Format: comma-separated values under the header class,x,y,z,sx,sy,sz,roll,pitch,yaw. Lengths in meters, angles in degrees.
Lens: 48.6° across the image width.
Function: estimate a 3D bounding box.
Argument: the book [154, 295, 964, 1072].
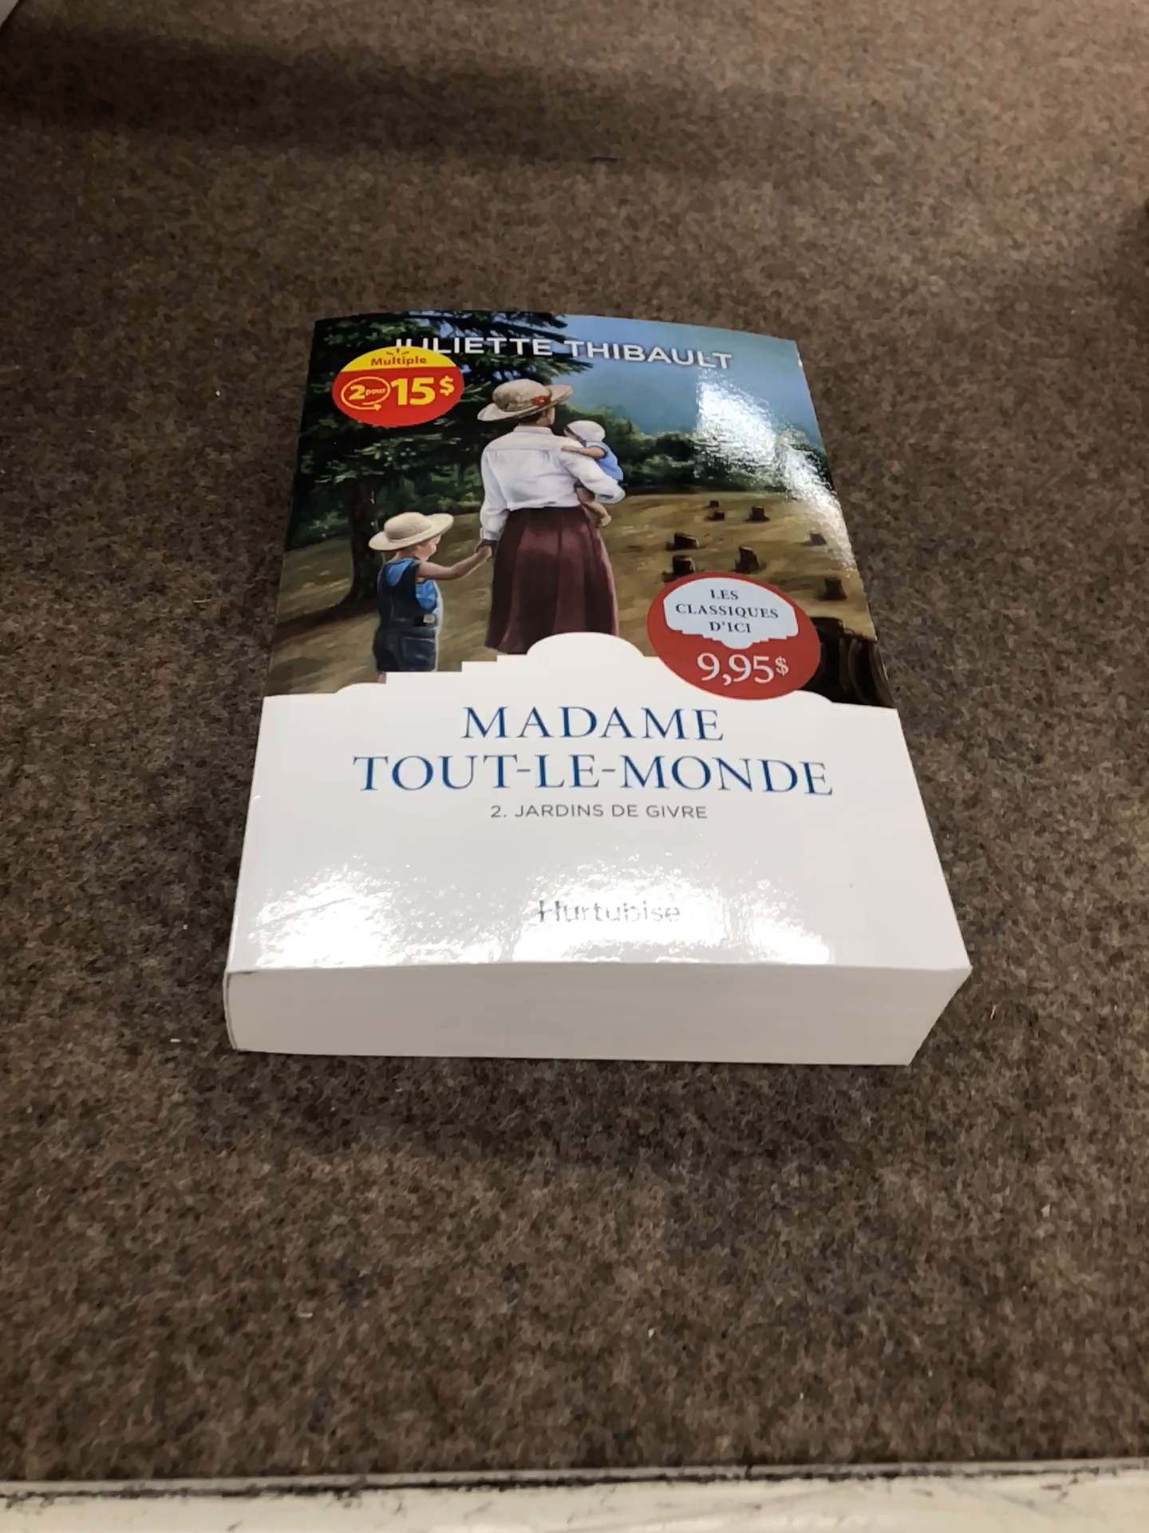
class,x,y,z,sx,sy,sz,roll,pitch,yaw
book,-0.007,-0.035,0.337,0.160,0.050,0.223,1,53,-5
